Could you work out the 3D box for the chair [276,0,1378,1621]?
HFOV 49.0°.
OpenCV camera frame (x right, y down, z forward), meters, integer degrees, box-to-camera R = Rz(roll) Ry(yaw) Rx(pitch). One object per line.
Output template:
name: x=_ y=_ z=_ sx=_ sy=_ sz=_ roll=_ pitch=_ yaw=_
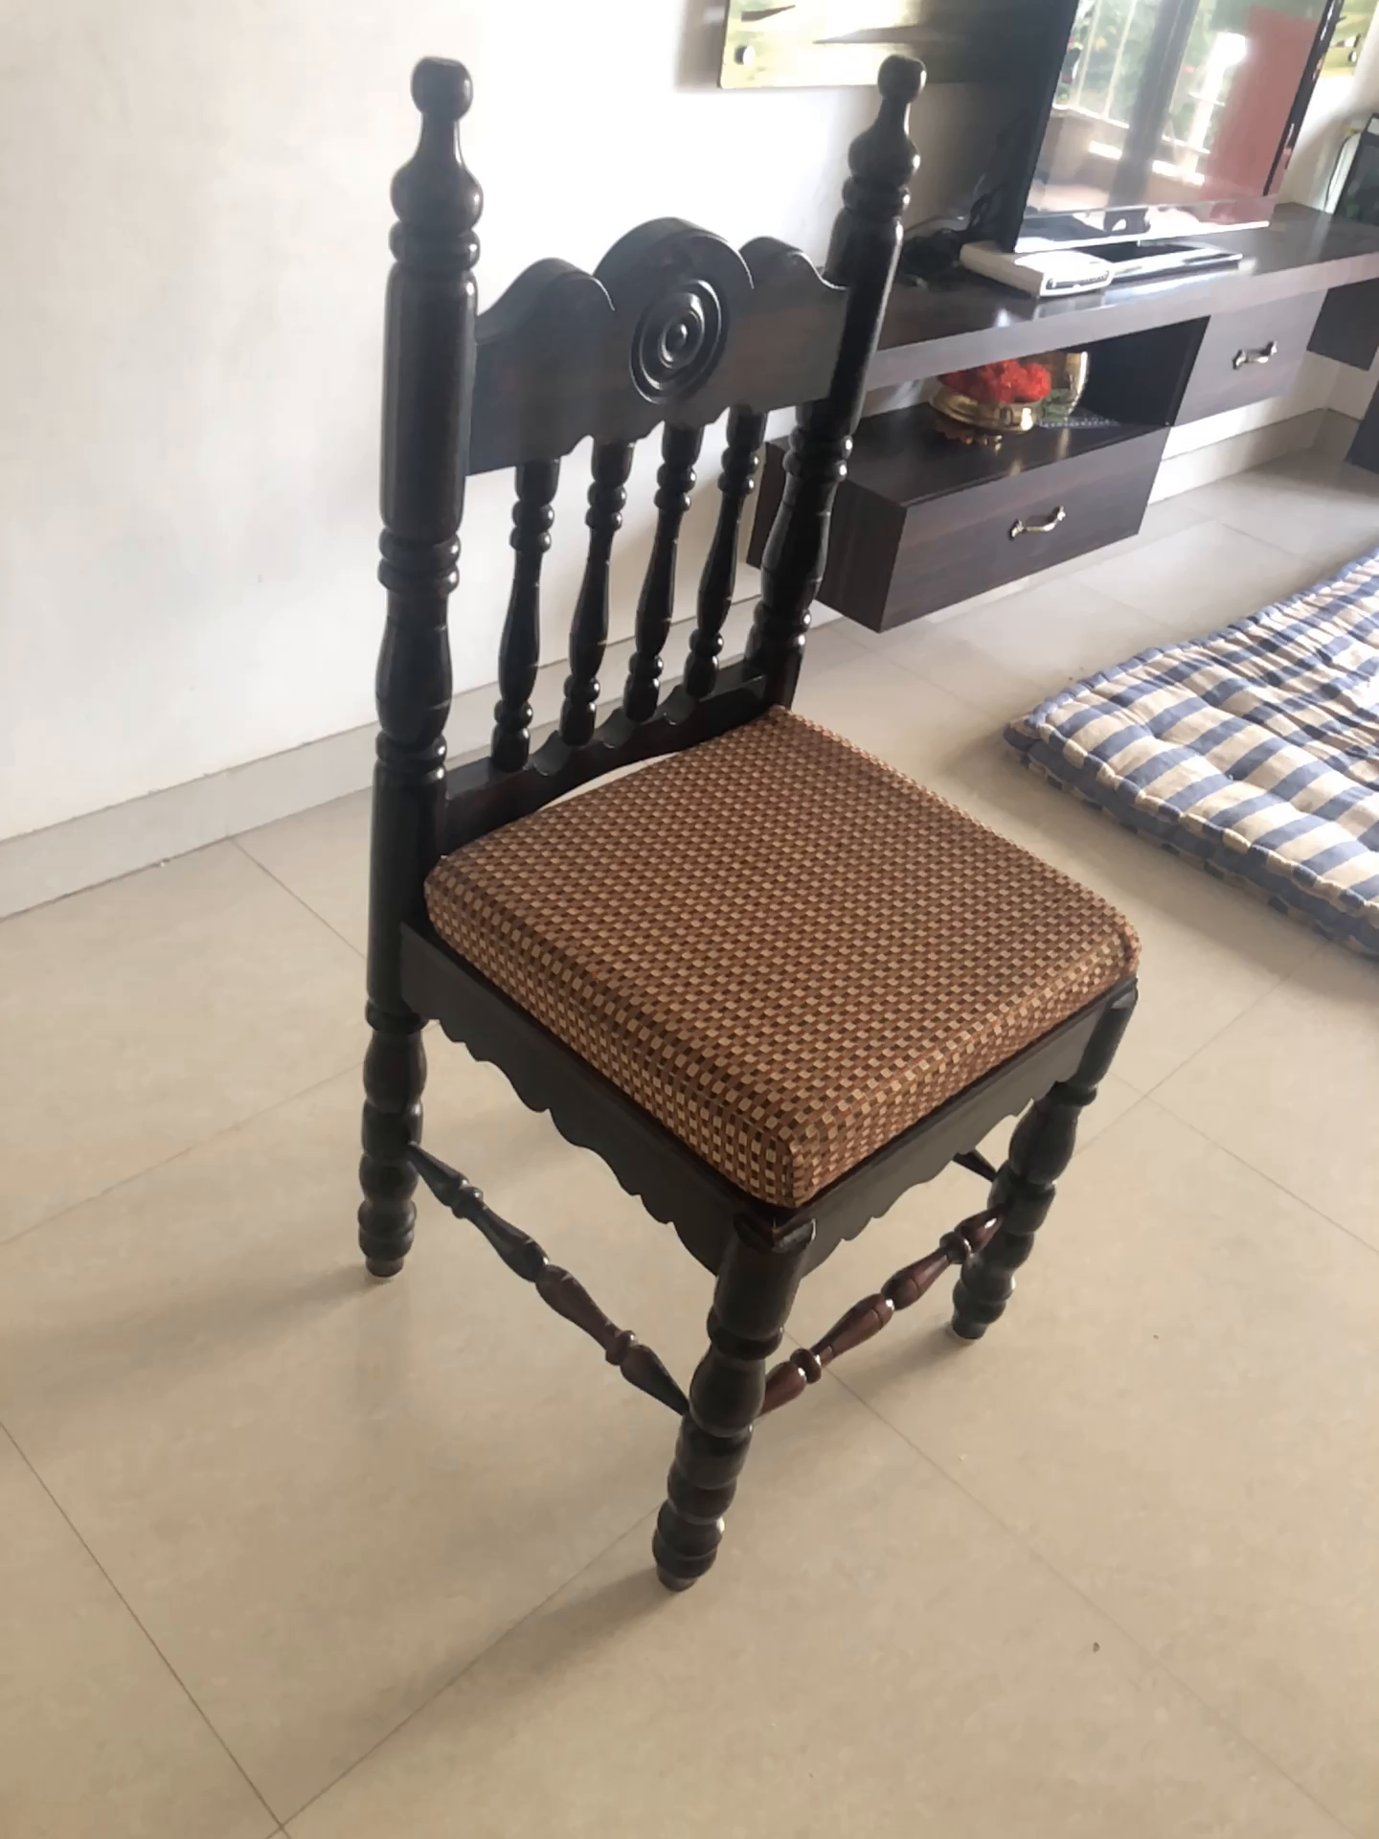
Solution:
chair: x=0.058 y=-0.078 z=1.197 sx=0.502 sy=1.022 sz=0.562 roll=-26 pitch=49 yaw=-38
